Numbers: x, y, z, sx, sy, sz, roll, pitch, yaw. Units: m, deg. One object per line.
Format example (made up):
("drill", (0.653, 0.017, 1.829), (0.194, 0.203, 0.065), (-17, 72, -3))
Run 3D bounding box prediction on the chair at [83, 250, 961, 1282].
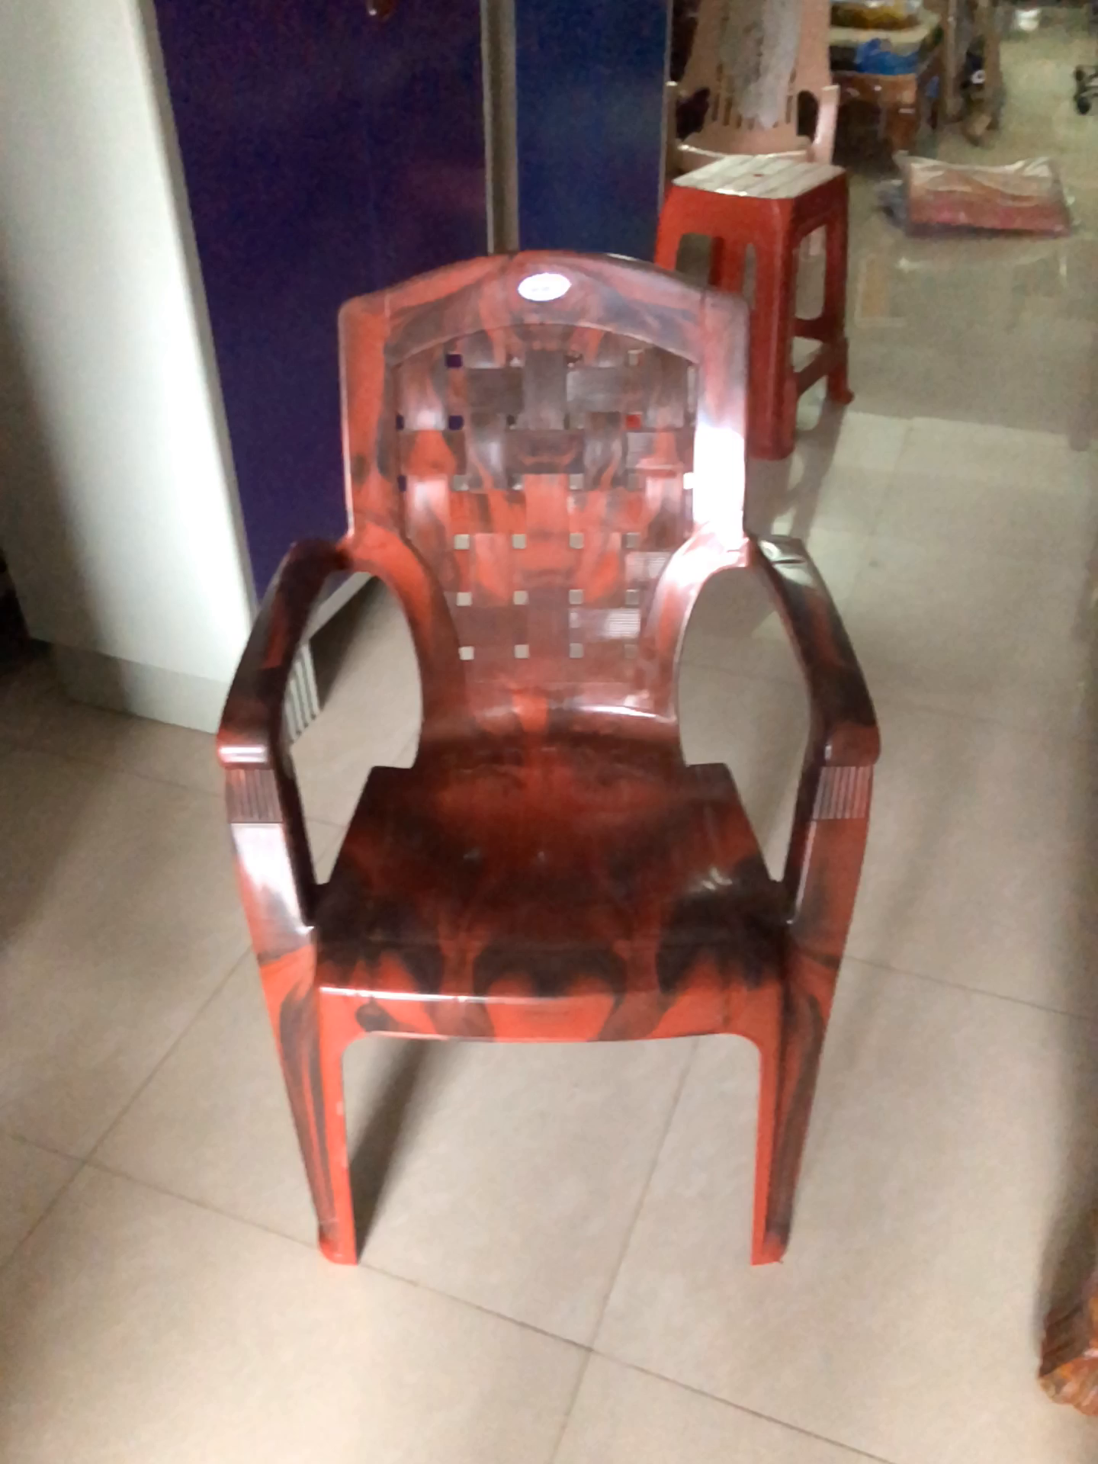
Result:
("chair", (-0.003, 0.047, 1.209), (0.530, 0.865, 0.563), (0, 37, 2))
